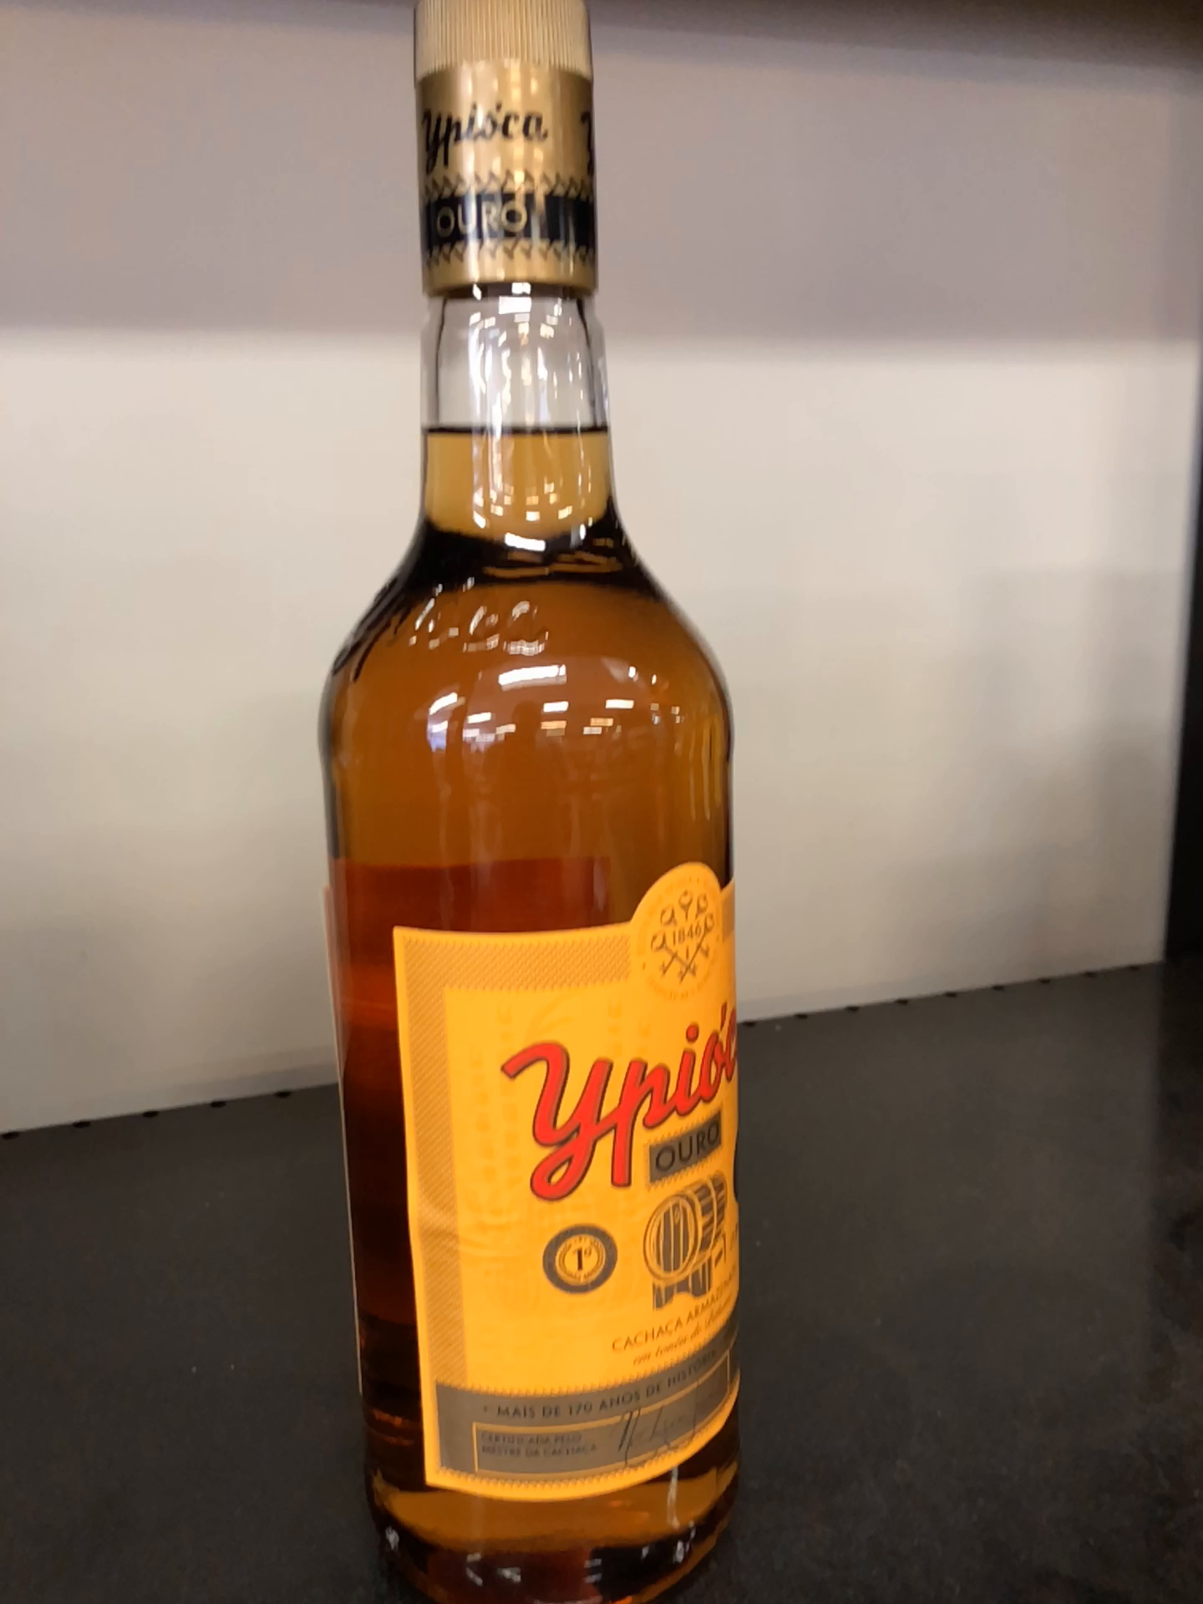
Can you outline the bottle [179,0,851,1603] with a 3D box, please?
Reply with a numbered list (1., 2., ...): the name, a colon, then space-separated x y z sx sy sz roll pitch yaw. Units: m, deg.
1. bottle: -0.013 0.010 0.248 0.080 0.309 0.070 -13 18 -43
